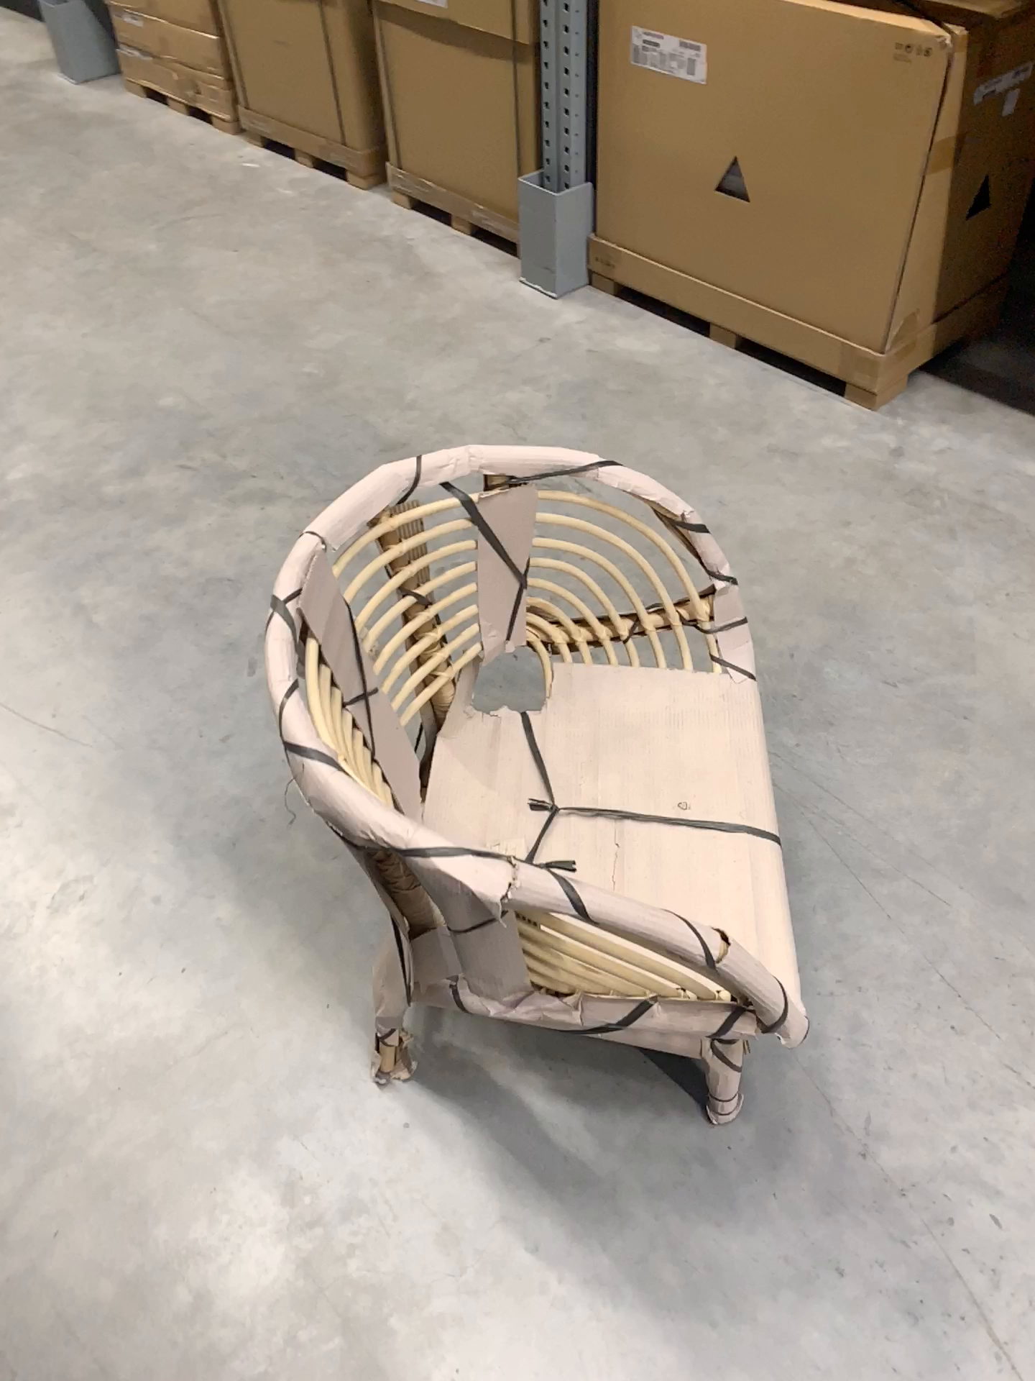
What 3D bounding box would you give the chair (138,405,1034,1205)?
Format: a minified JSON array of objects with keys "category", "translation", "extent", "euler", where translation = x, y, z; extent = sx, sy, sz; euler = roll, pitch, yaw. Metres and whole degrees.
[{"category":"chair","translation":[0.109,0.108,1.290],"extent":[0.760,0.568,0.753],"euler":[2,47,5]}]
